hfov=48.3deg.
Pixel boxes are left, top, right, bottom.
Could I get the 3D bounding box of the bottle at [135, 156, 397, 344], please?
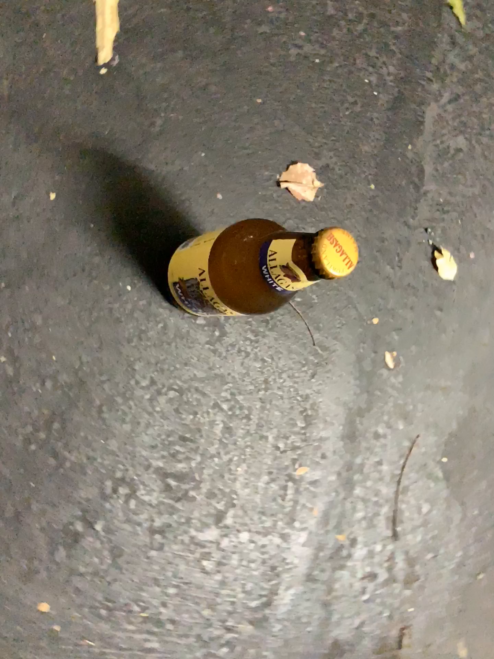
[{"bbox_3d":[-0.002,-0.045,0.375,0.070,0.190,0.070,-1,92,-27],"label":"bottle"}]
